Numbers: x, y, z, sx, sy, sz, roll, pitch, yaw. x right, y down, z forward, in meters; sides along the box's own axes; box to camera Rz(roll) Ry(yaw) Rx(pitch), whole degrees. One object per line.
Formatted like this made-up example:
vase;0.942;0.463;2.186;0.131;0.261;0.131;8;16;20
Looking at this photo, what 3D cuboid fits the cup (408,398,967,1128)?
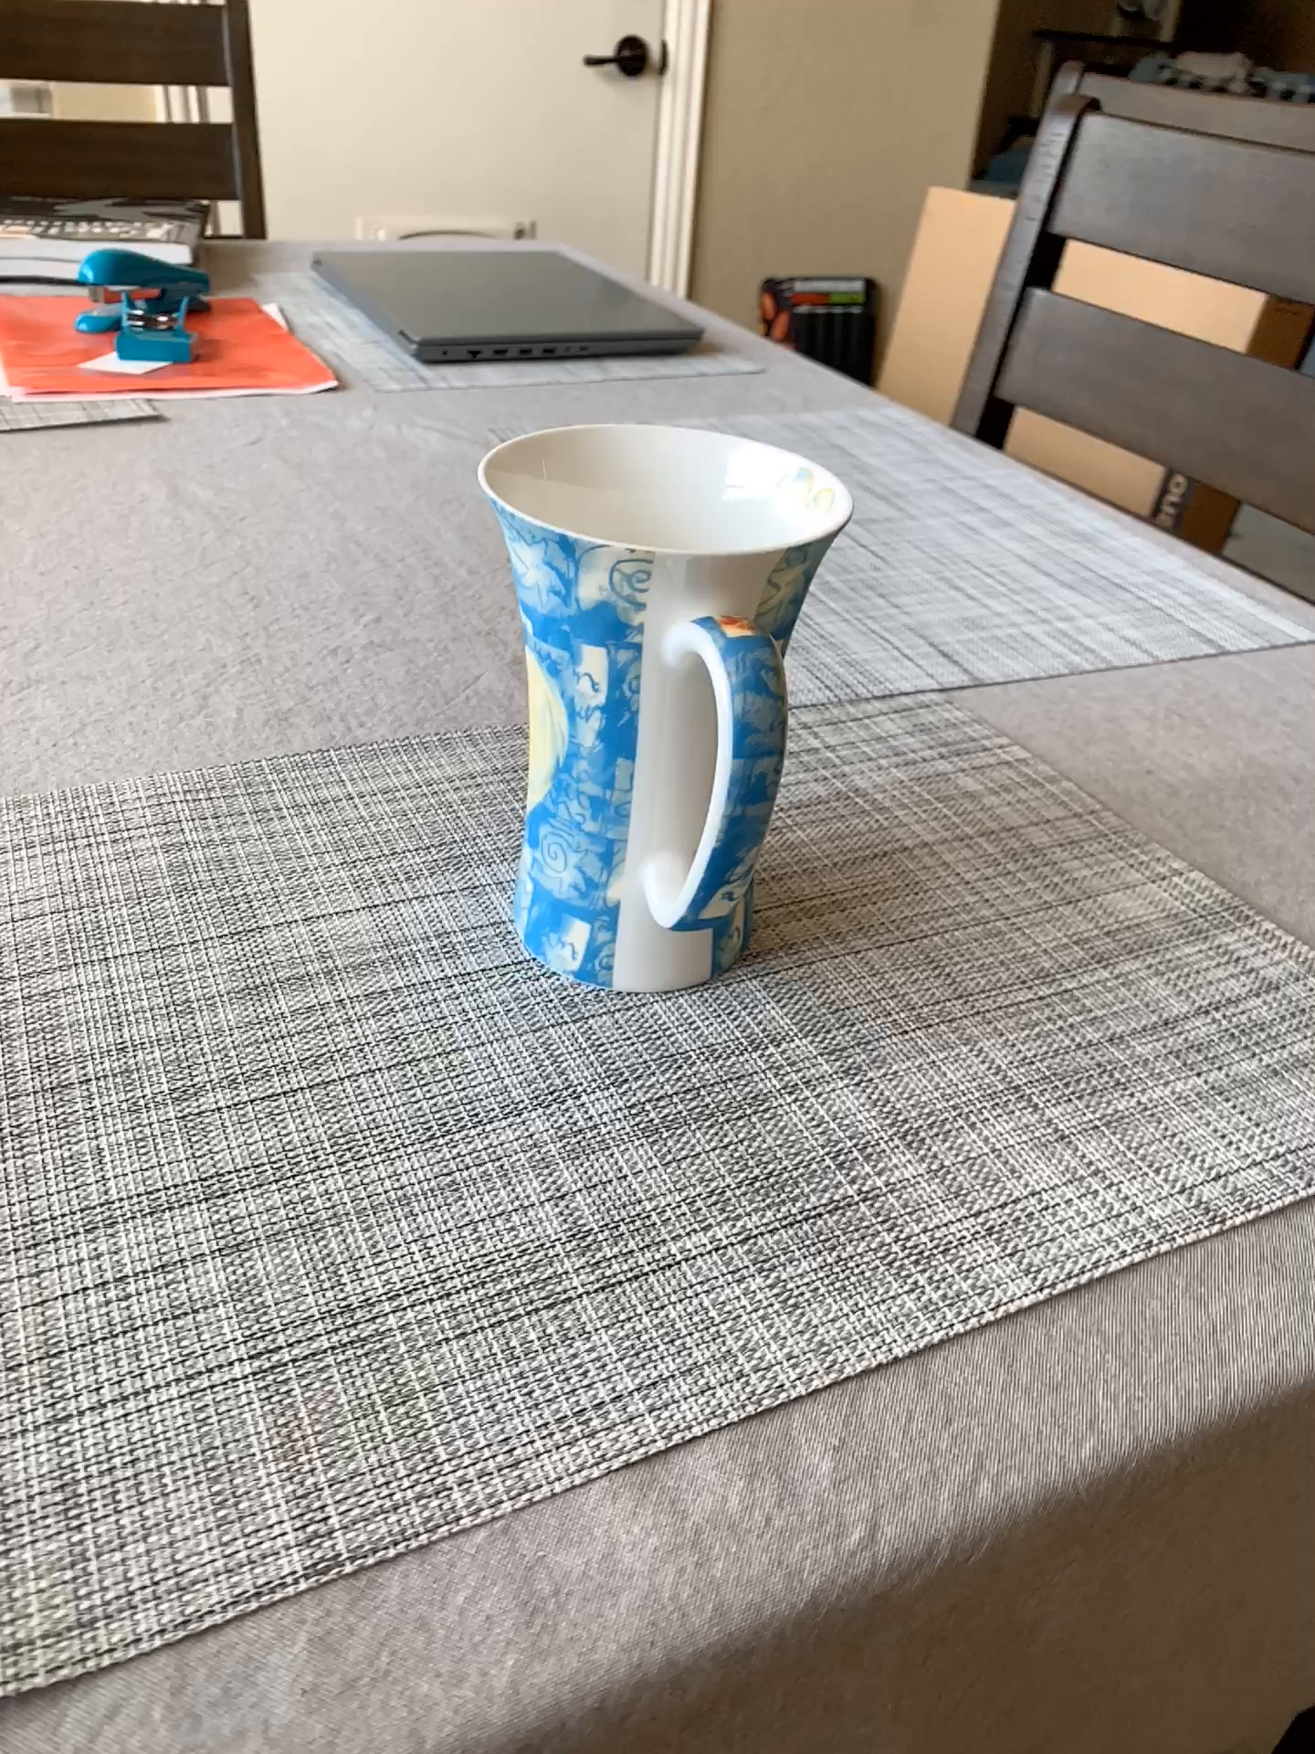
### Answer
cup;-0.007;-0.043;0.395;0.099;0.148;0.153;-7;35;-19
